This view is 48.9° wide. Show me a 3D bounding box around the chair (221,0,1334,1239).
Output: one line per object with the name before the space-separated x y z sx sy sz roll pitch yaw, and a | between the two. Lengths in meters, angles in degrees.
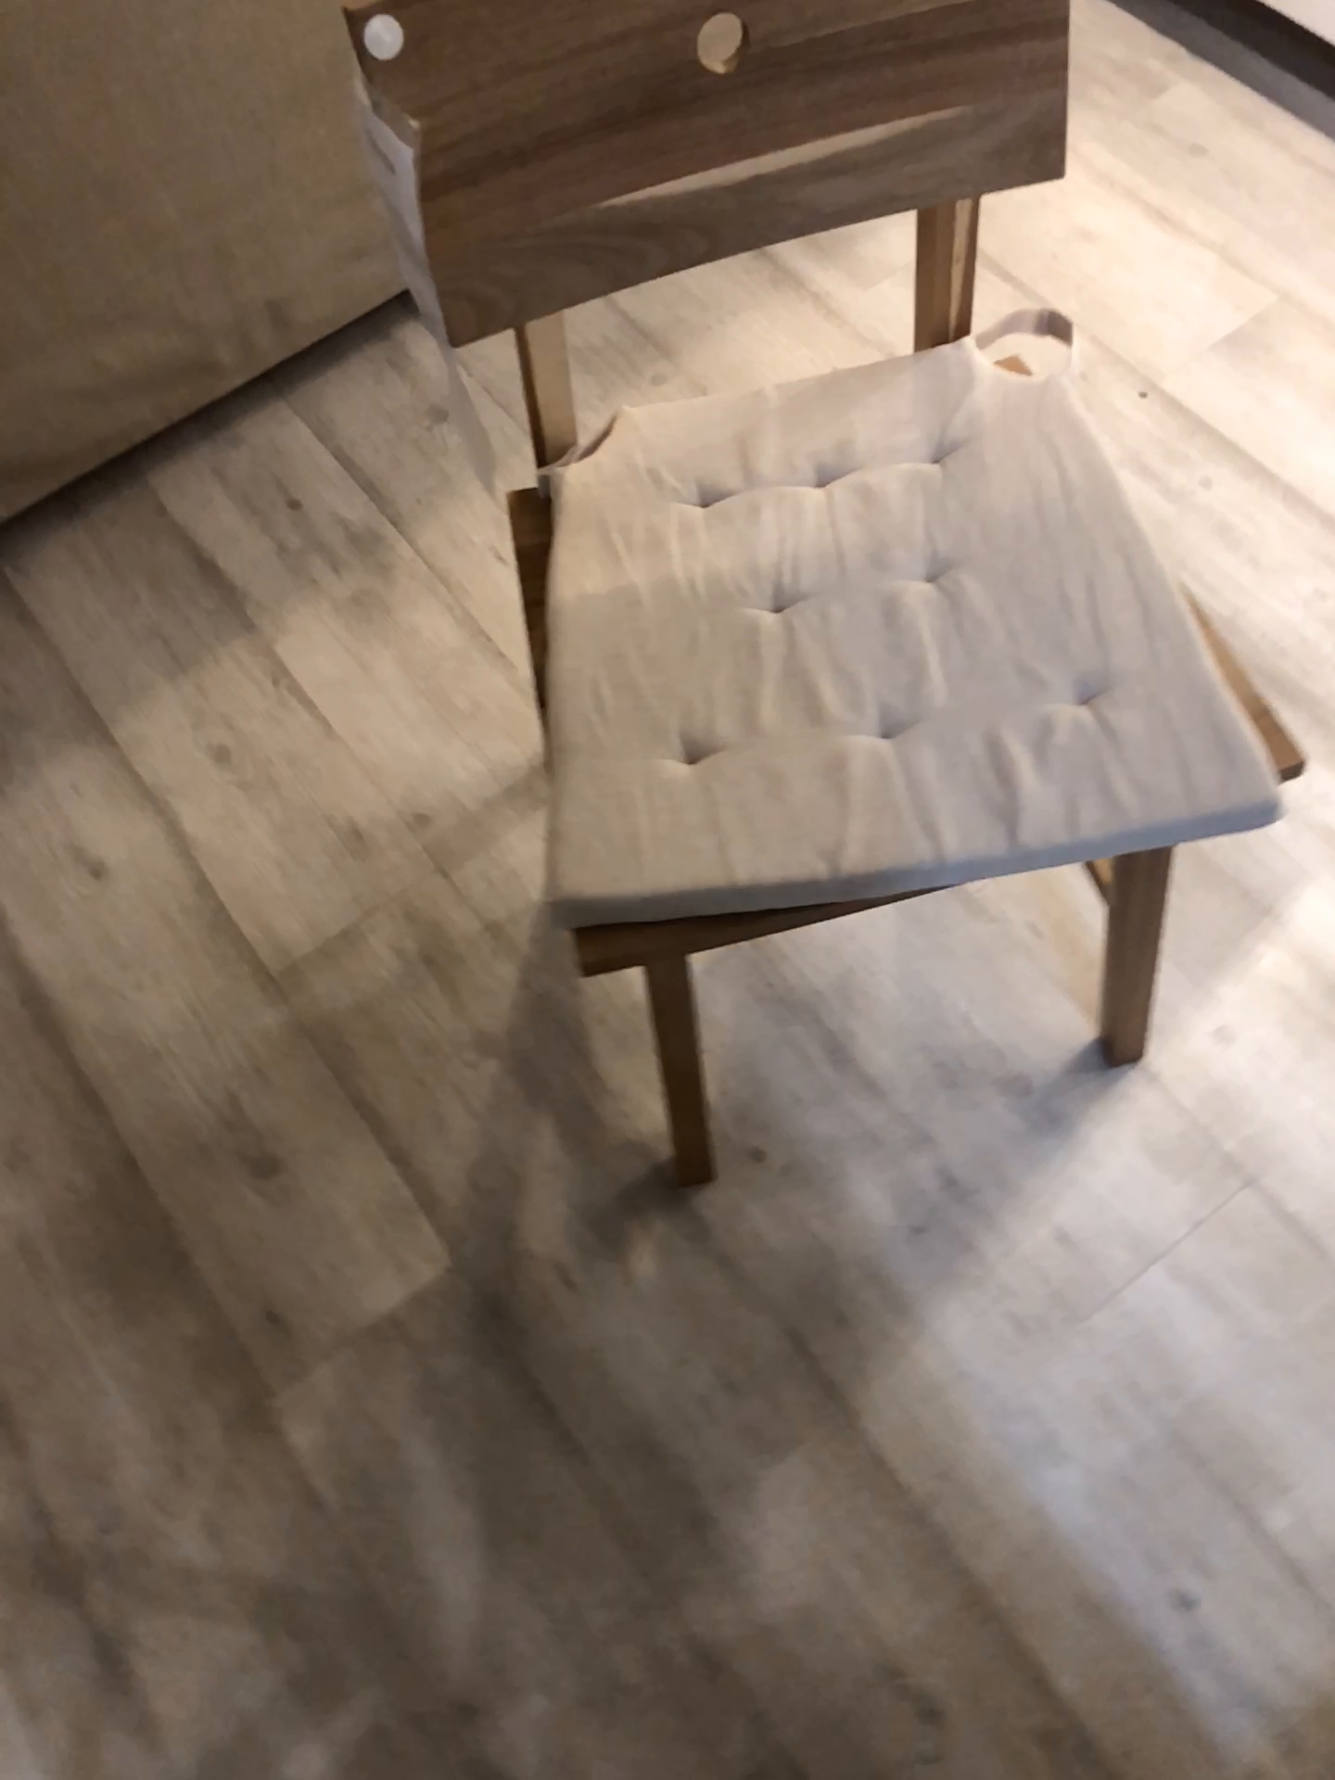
chair | 0.108 -0.180 0.911 0.500 0.599 0.531 -16 63 -2
